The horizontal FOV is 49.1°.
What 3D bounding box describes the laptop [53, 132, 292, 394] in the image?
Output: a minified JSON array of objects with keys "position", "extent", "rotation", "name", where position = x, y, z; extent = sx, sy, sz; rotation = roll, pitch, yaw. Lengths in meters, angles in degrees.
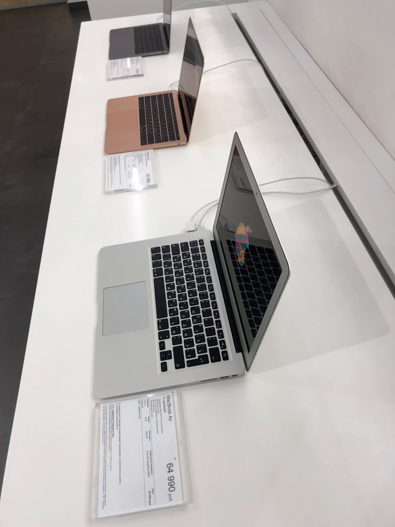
[{"position":[-0.039,-0.013,0.669],"extent":[0.270,0.207,0.316],"rotation":[-8,45,-1],"name":"laptop"}]
